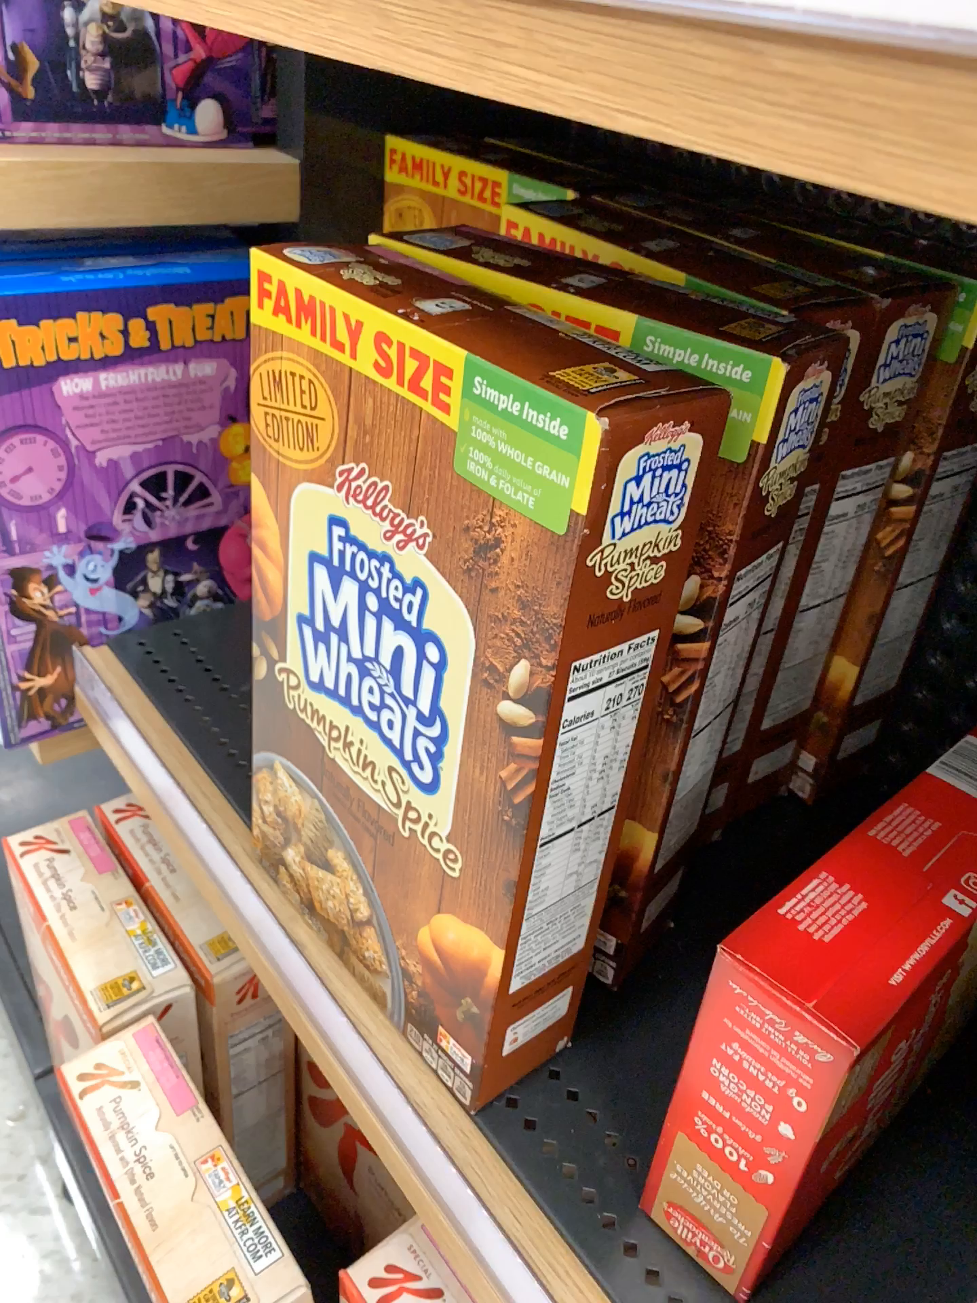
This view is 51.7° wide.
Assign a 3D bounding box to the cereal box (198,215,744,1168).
[{"bbox_3d":[-0.038,0.019,0.389,0.050,0.308,0.201,-20,42,-38],"label":"cereal box"}]
